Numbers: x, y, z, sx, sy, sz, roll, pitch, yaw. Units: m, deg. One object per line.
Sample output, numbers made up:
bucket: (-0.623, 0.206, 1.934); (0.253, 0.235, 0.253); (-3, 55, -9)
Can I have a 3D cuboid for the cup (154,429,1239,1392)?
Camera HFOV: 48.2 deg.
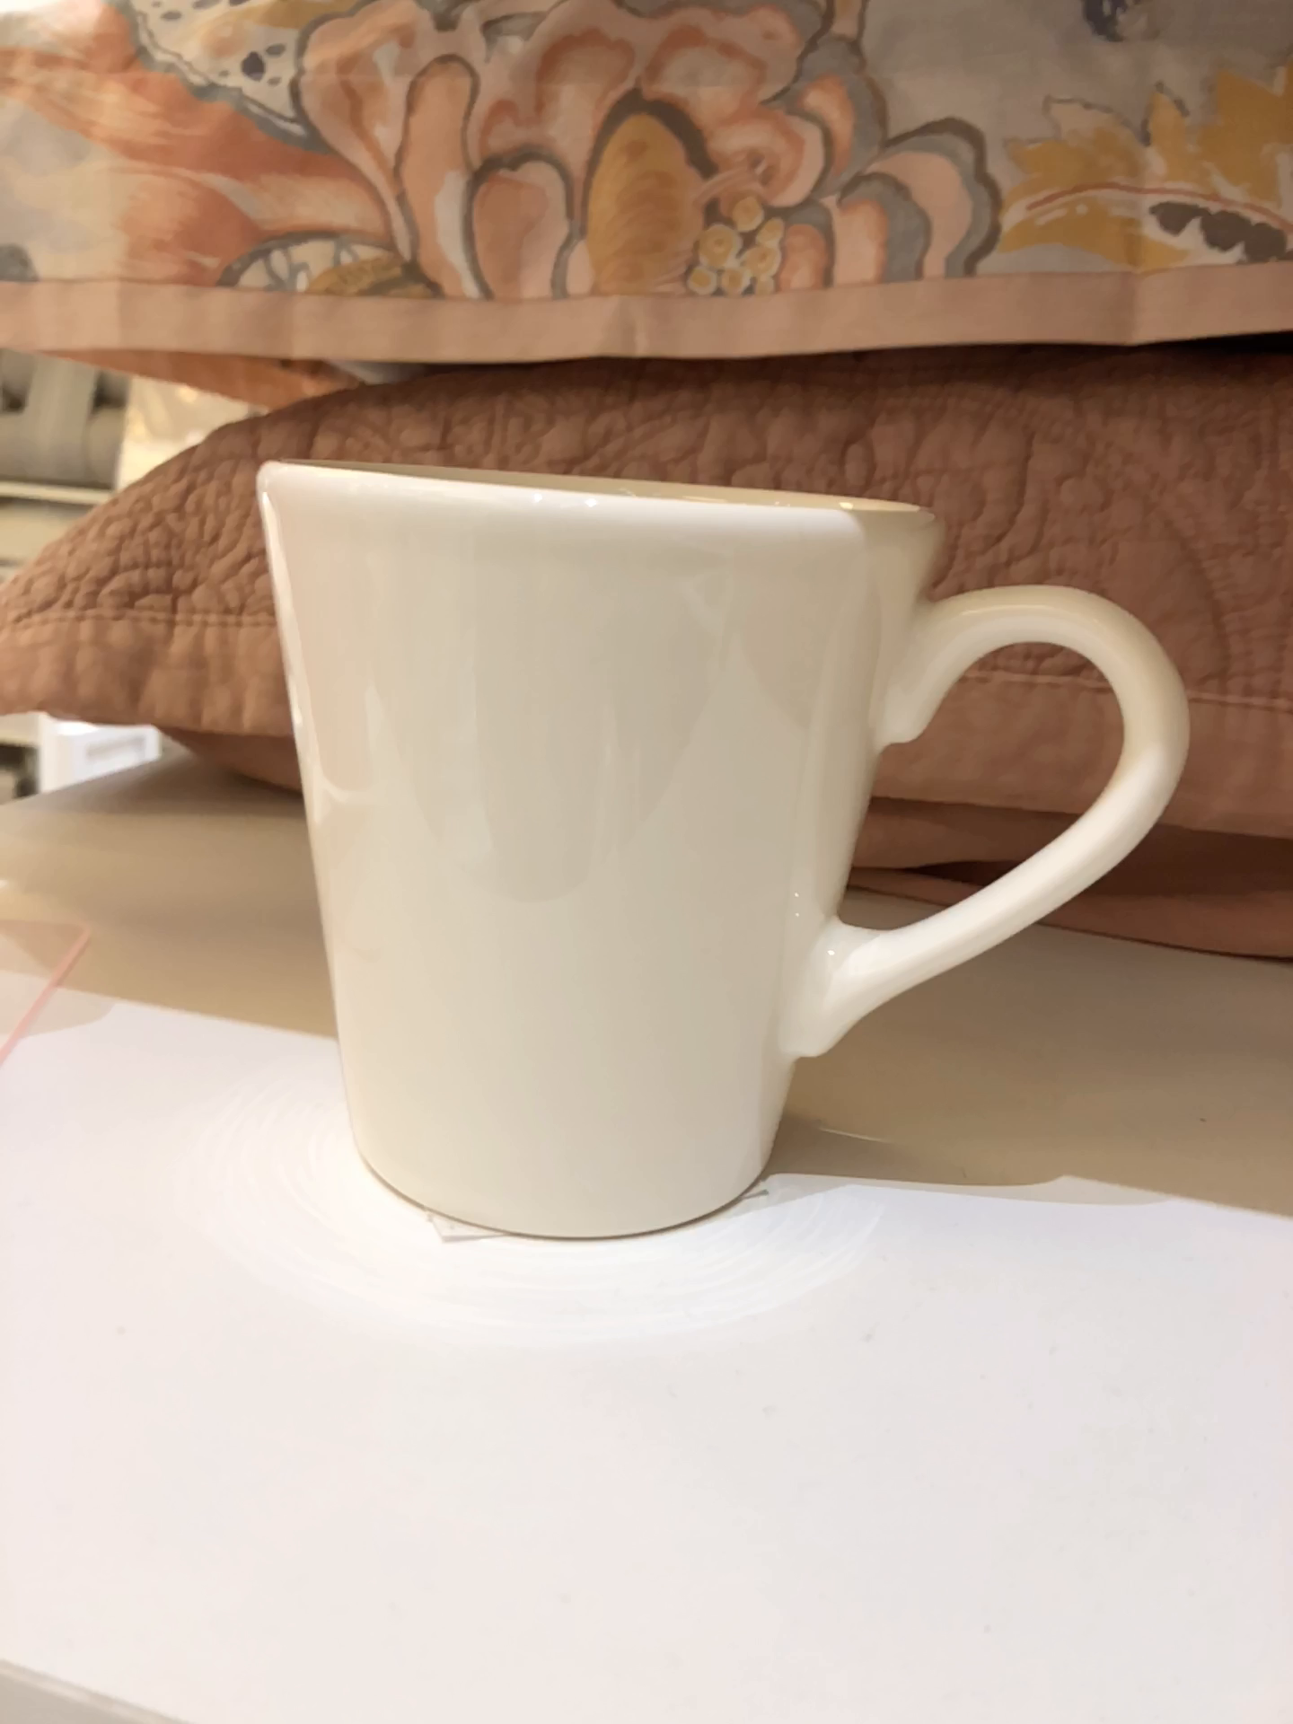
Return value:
cup: (0.004, -0.002, 0.197); (0.110, 0.100, 0.080); (5, 15, 4)
